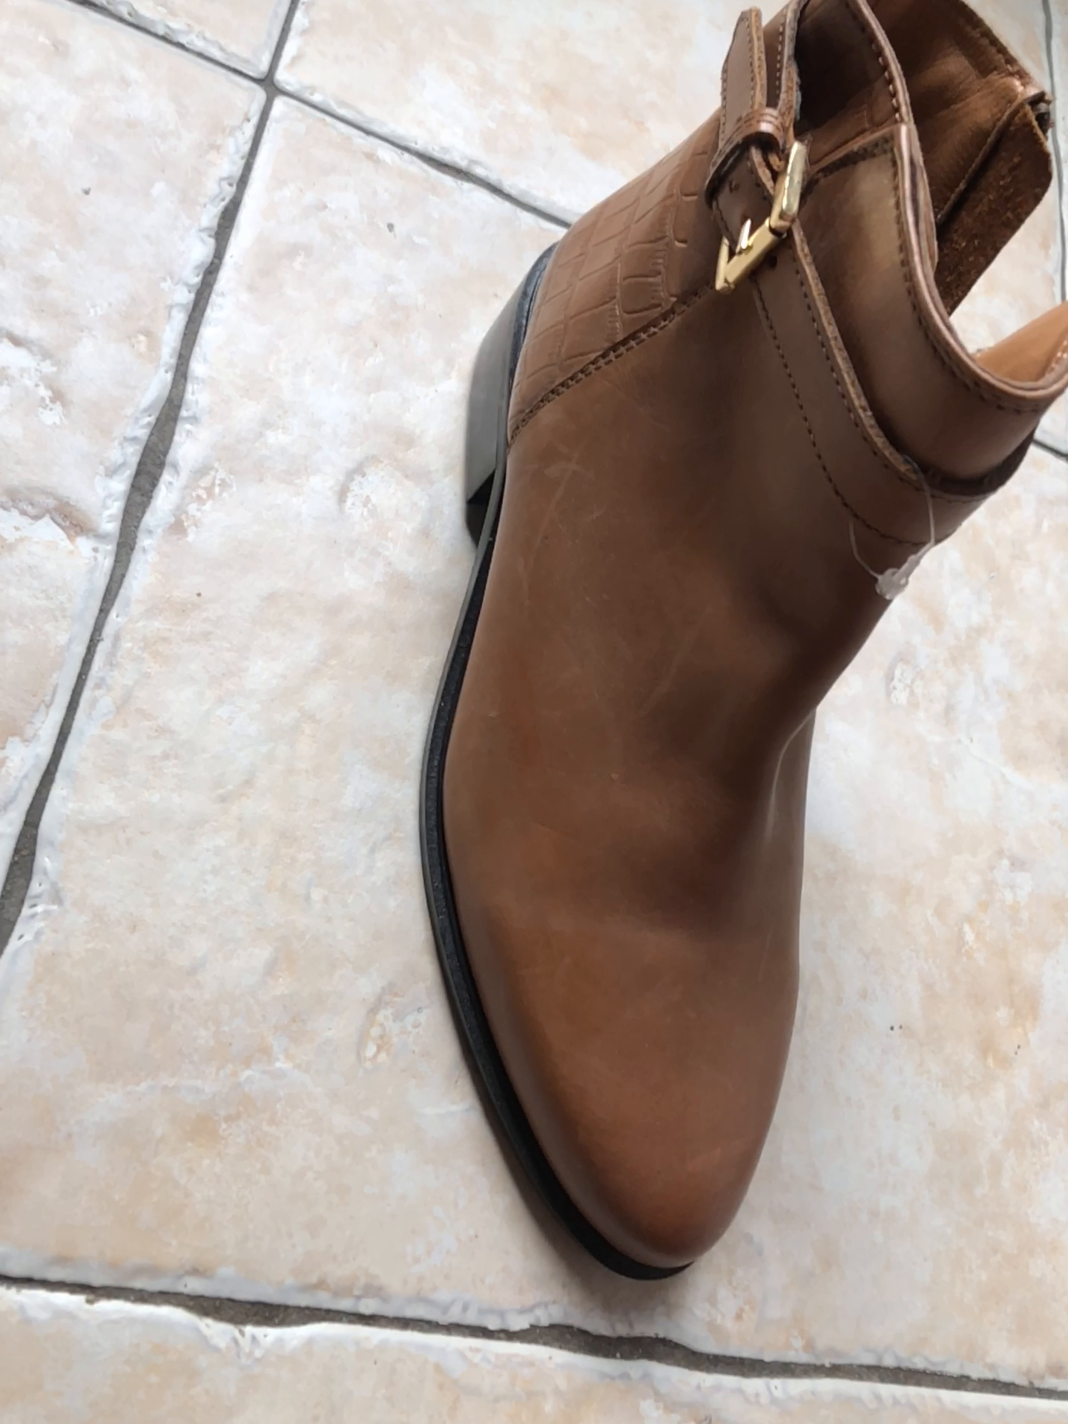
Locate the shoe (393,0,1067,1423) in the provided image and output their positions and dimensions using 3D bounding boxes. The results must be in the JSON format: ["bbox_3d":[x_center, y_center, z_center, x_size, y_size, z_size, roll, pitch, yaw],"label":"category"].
[{"bbox_3d":[0.045,-0.027,0.267,0.090,0.179,0.301,9,68,-21],"label":"shoe"}]
